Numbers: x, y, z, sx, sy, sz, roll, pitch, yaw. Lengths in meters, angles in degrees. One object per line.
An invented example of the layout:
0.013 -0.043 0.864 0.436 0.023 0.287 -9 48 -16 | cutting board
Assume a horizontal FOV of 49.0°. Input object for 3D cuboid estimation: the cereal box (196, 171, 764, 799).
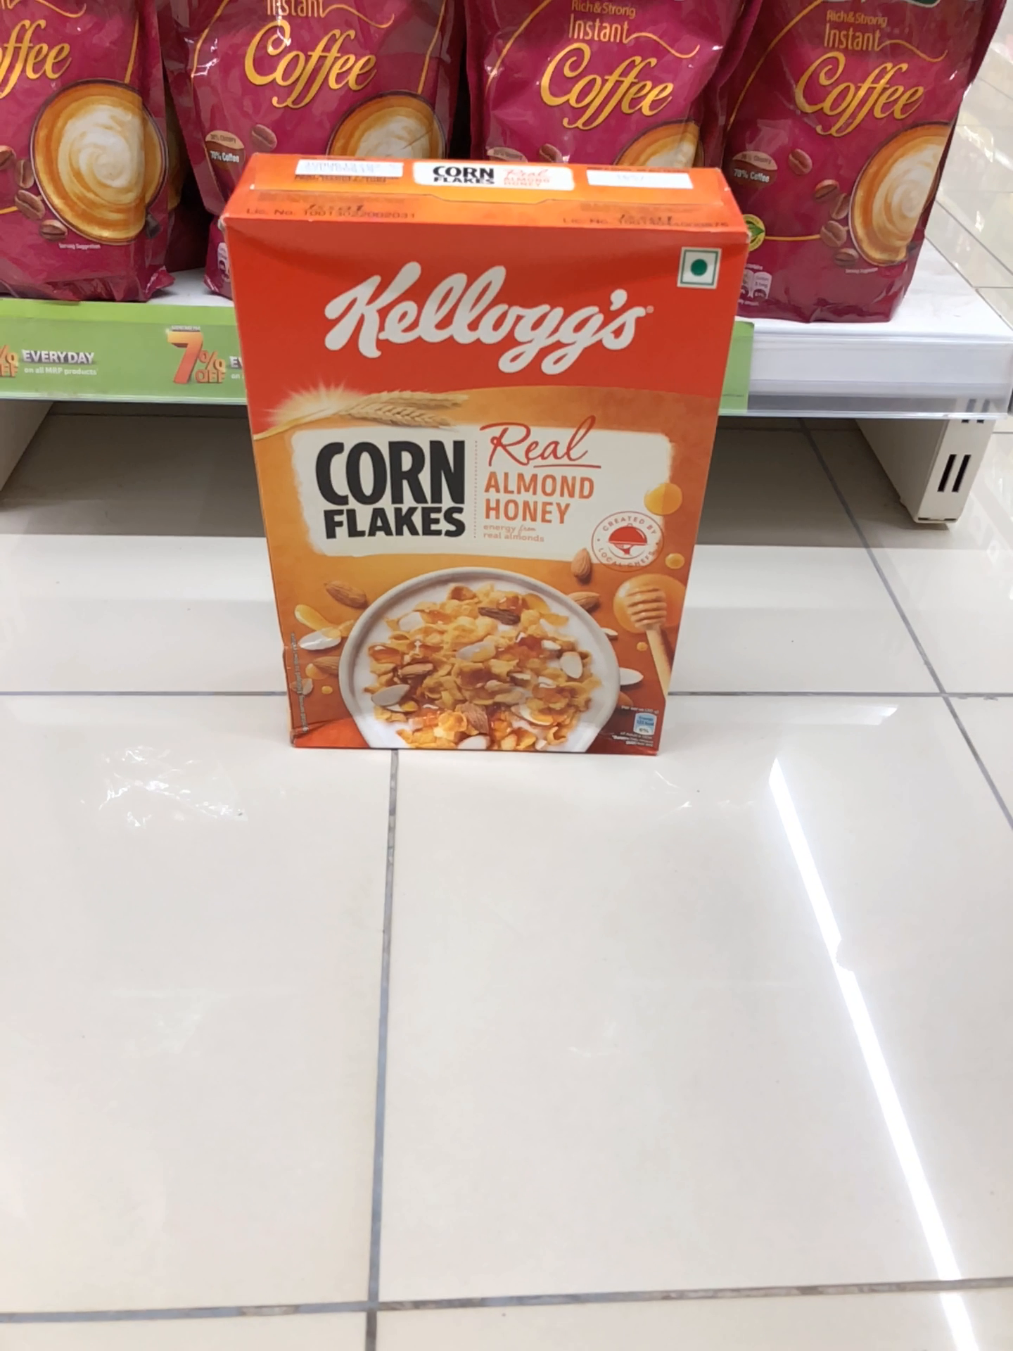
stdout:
-0.012 -0.072 0.506 0.200 0.268 0.081 2 39 0 | cereal box
